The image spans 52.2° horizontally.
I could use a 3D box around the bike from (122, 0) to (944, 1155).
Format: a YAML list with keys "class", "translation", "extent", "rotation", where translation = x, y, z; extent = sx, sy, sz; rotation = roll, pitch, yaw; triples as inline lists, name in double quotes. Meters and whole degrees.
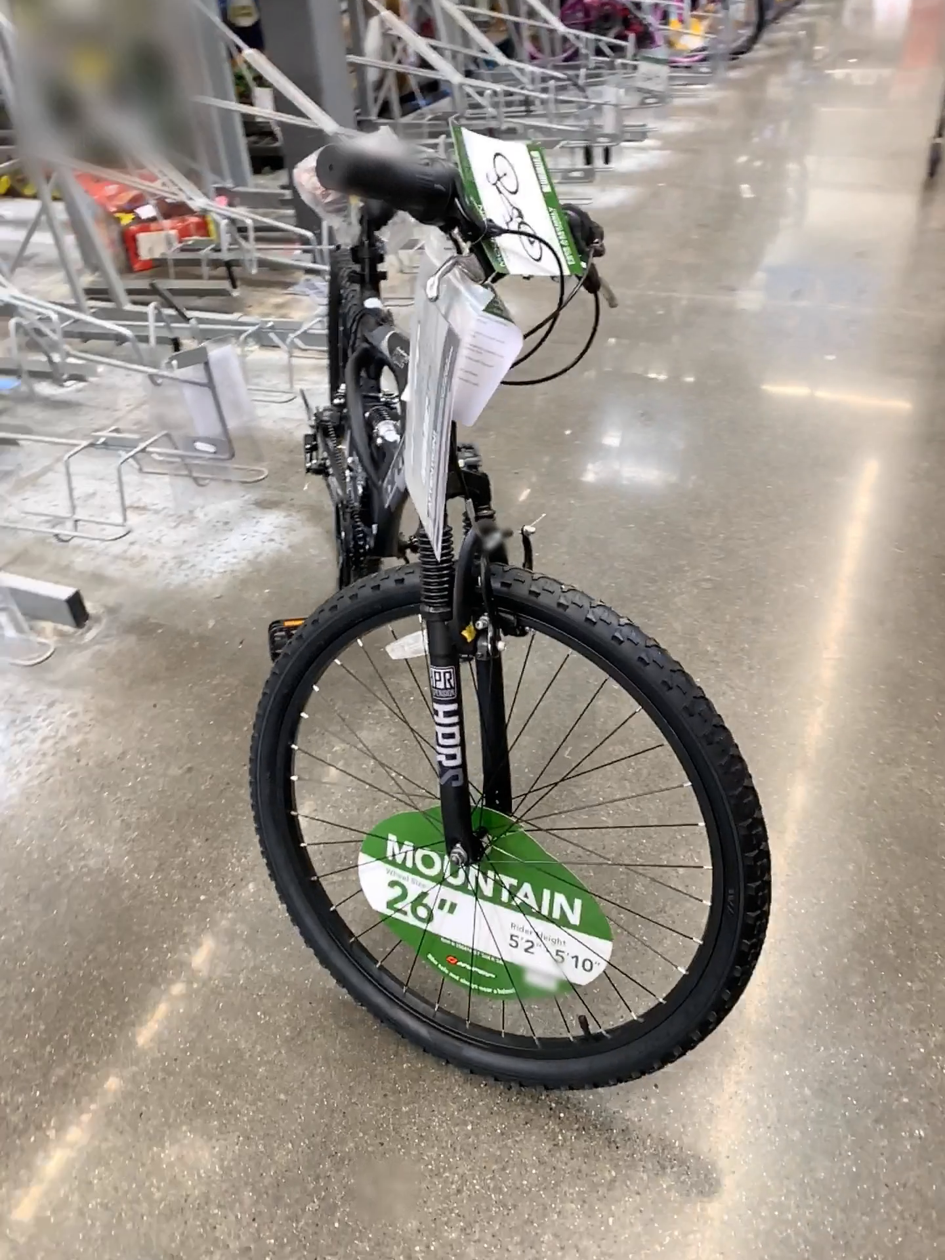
- class: "bike"
  translation: [0.034, -0.309, 1.625]
  extent: [0.690, 1.089, 1.688]
  rotation: [-17, 41, -15]
